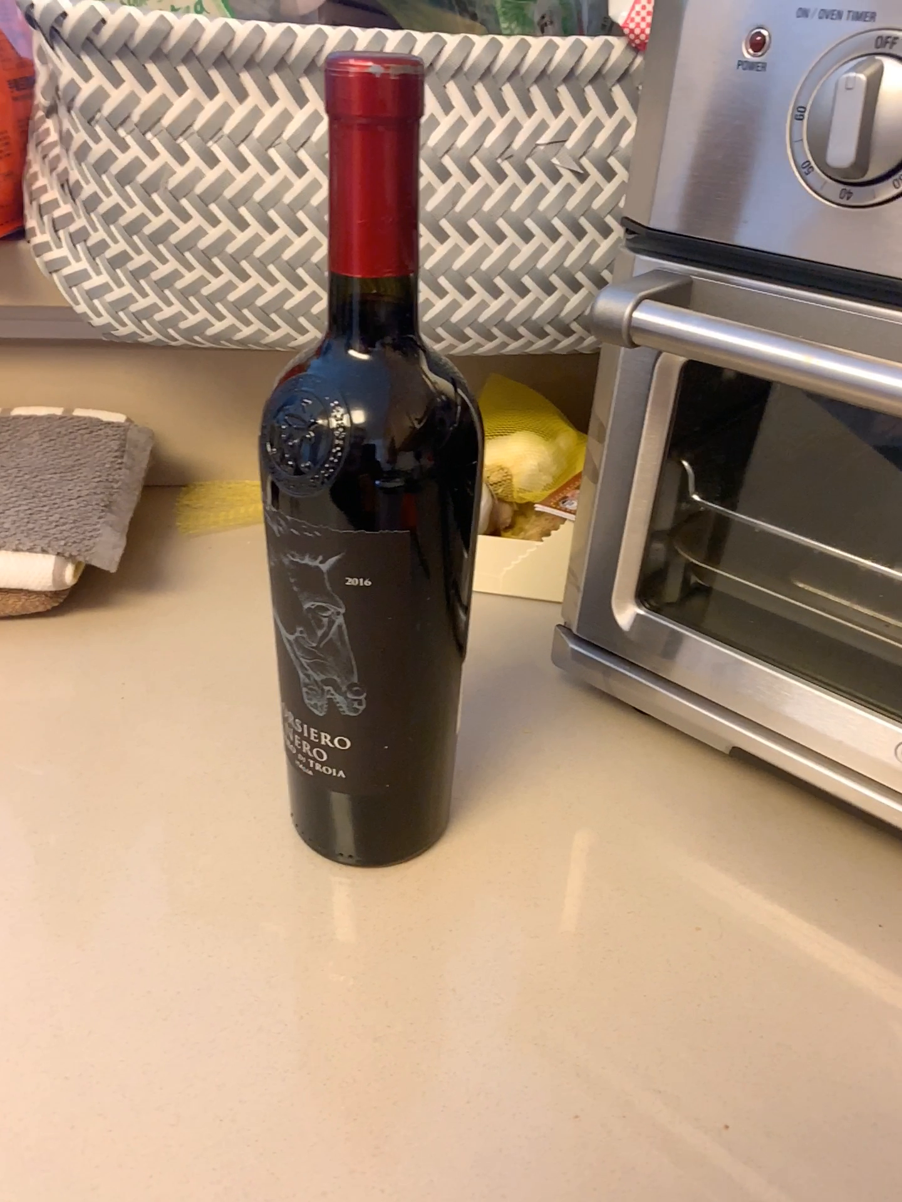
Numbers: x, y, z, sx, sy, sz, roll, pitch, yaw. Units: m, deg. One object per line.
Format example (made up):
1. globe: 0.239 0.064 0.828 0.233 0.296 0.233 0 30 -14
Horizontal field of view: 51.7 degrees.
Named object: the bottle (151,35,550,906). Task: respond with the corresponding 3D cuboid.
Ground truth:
1. bottle: -0.033 -0.031 0.323 0.080 0.278 0.070 24 38 30
